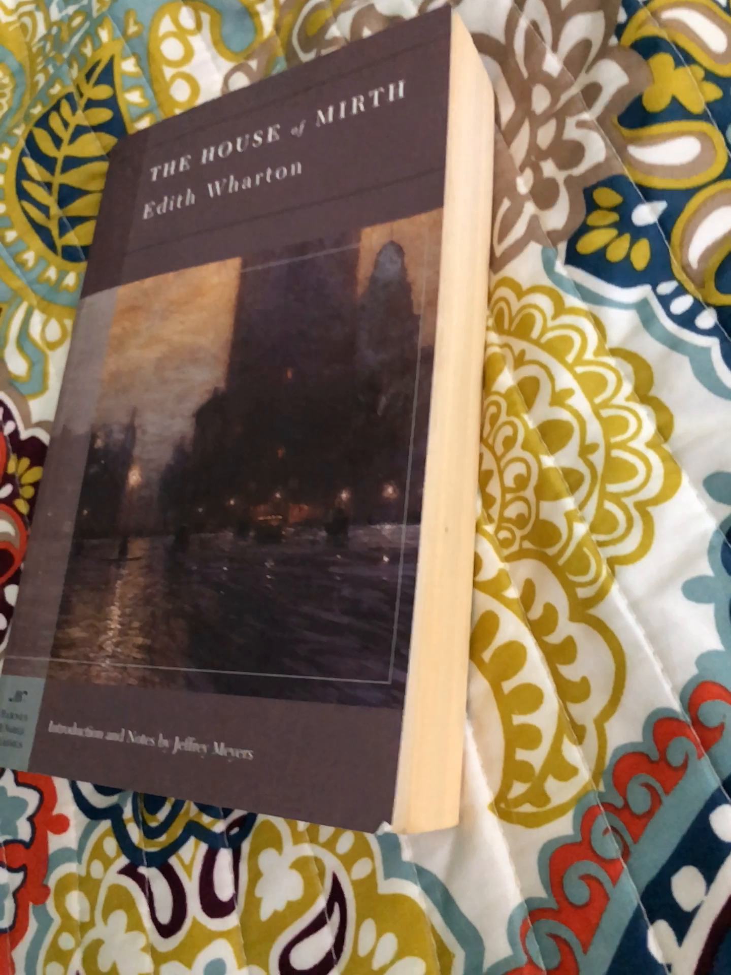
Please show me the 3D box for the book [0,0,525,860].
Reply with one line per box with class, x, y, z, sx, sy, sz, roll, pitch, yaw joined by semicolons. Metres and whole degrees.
book;-0.033;-0.017;0.231;0.142;0.040;0.195;-3;76;32
